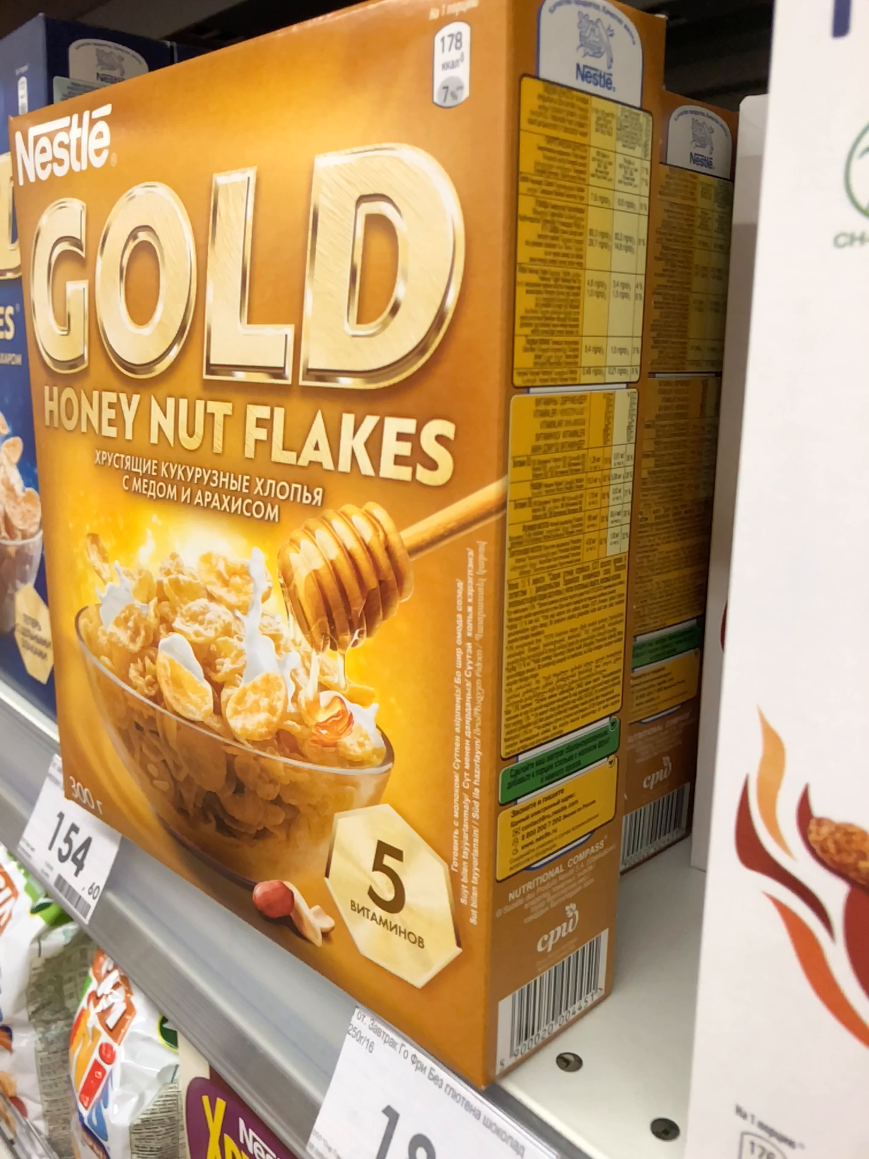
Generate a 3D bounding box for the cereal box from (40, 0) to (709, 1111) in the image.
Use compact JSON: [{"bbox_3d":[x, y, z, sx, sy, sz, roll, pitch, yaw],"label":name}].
[{"bbox_3d":[-0.034,-0.017,0.259,0.190,0.219,0.050,13,17,43],"label":"cereal box"}]
